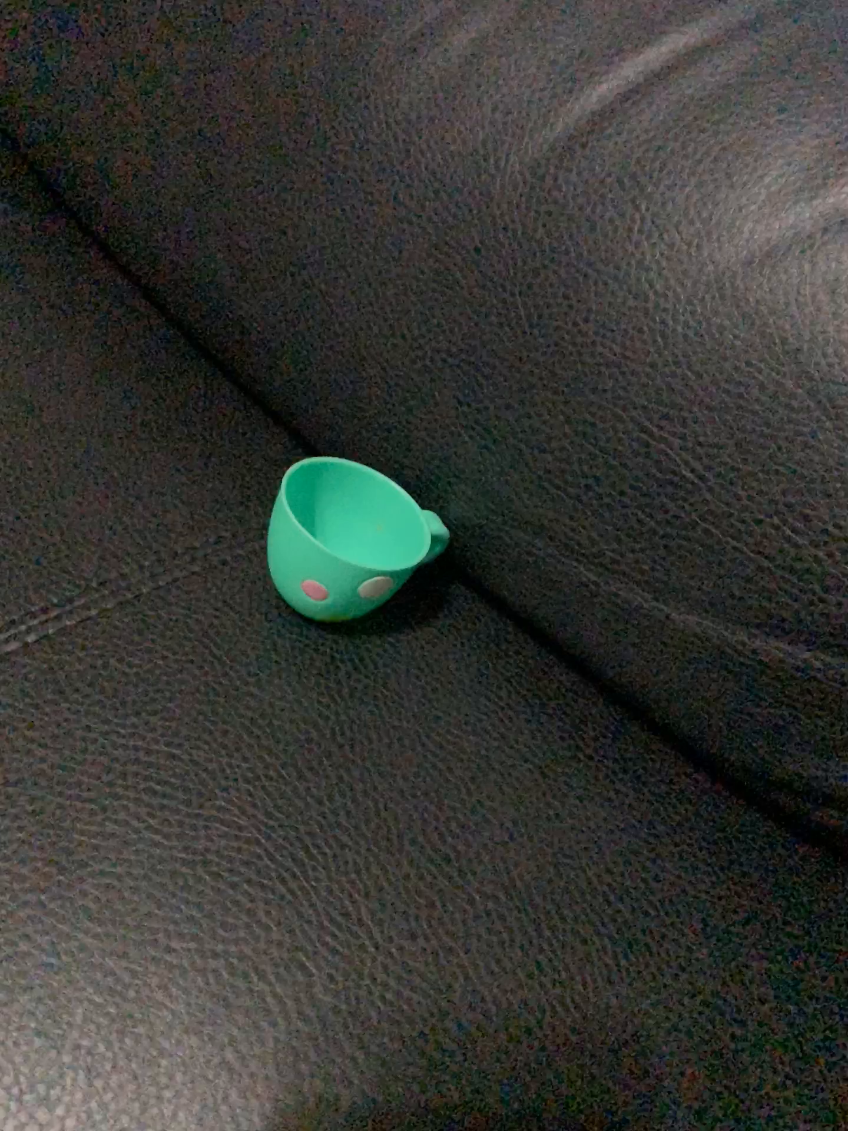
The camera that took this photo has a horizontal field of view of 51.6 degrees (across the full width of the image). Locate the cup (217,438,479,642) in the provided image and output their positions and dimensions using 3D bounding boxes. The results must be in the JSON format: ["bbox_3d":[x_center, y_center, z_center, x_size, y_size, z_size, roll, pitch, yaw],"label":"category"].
[{"bbox_3d":[-0.025,-0.007,0.273,0.063,0.030,0.054,5,40,-31],"label":"cup"}]
